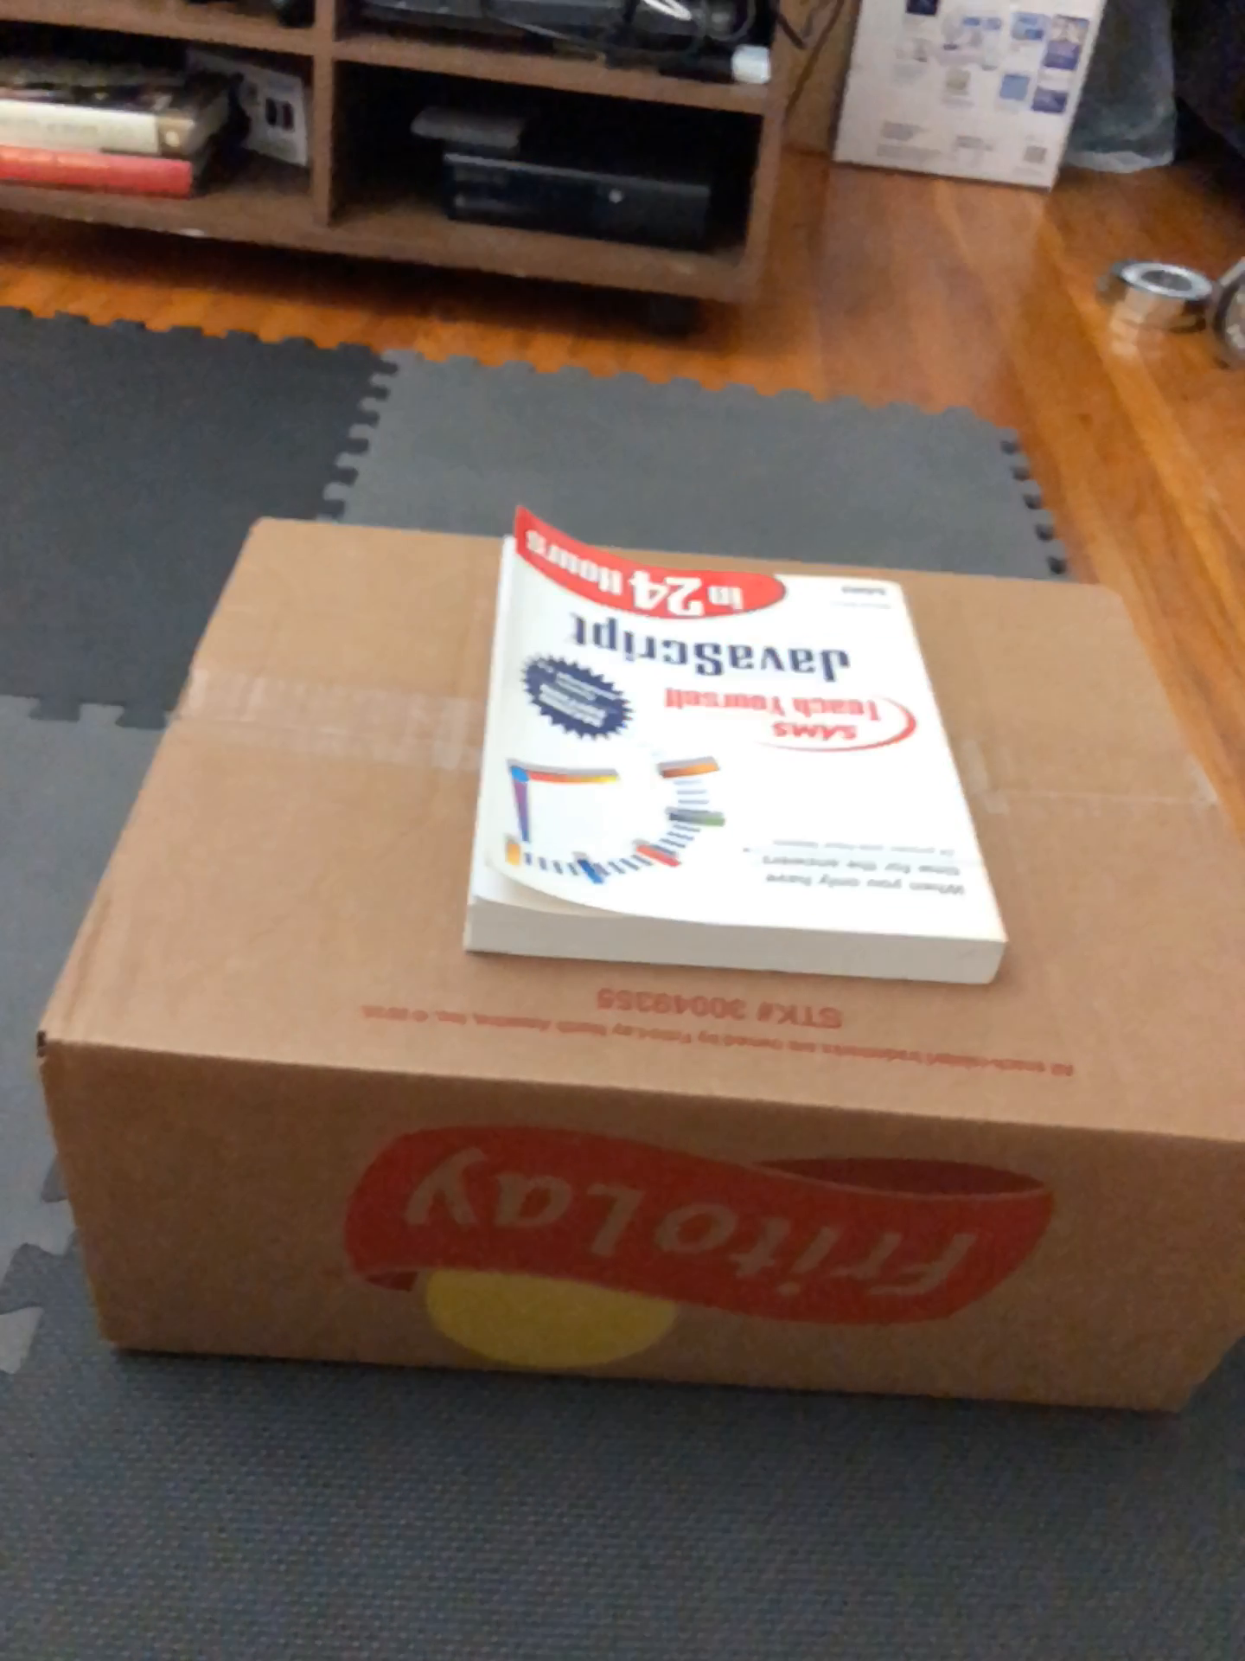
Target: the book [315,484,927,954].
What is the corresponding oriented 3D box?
[{"bbox_3d":[-0.002,-0.056,0.549,0.200,0.030,0.241,3,43,-4],"label":"book"}]
